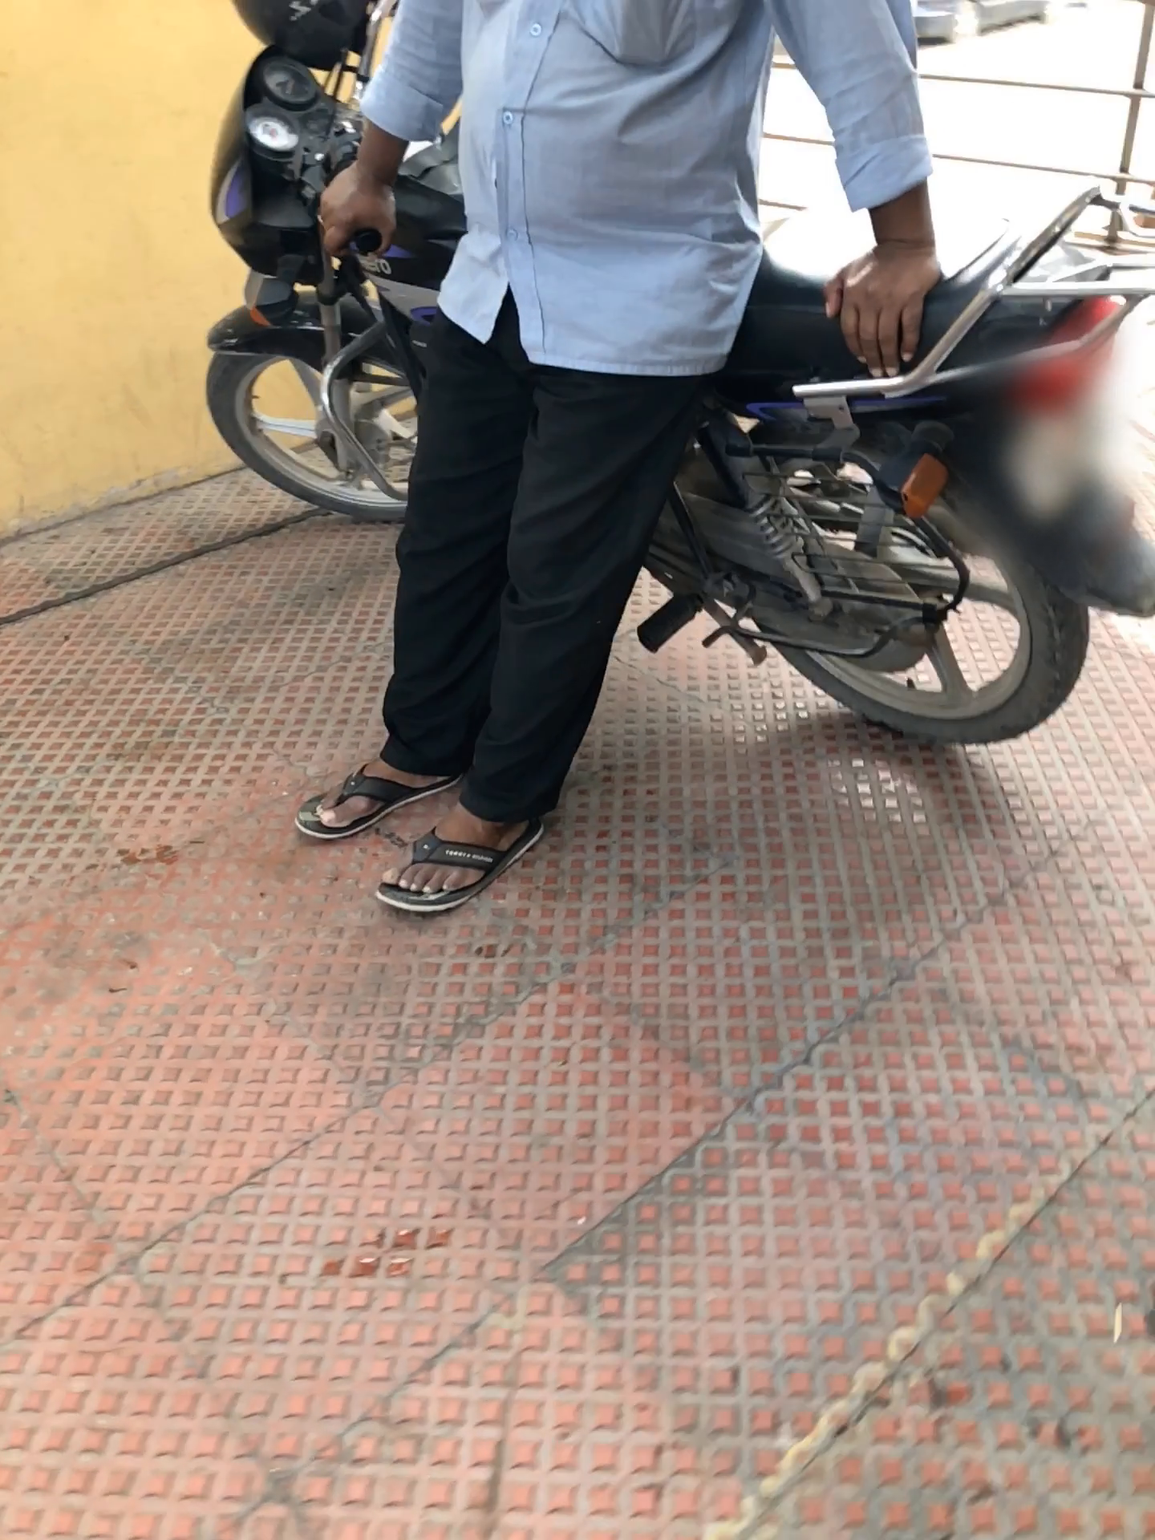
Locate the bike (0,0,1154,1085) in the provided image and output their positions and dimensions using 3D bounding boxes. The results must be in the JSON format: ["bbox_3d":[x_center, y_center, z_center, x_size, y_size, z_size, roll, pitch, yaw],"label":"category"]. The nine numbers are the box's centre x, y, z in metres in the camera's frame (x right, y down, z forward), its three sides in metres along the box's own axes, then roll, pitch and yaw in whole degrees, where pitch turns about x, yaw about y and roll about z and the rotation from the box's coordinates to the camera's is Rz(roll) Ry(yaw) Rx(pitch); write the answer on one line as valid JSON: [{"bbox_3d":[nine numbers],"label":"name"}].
[{"bbox_3d":[-0.166,-0.576,1.740,1.675,1.007,0.925,23,42,29],"label":"bike"}]
